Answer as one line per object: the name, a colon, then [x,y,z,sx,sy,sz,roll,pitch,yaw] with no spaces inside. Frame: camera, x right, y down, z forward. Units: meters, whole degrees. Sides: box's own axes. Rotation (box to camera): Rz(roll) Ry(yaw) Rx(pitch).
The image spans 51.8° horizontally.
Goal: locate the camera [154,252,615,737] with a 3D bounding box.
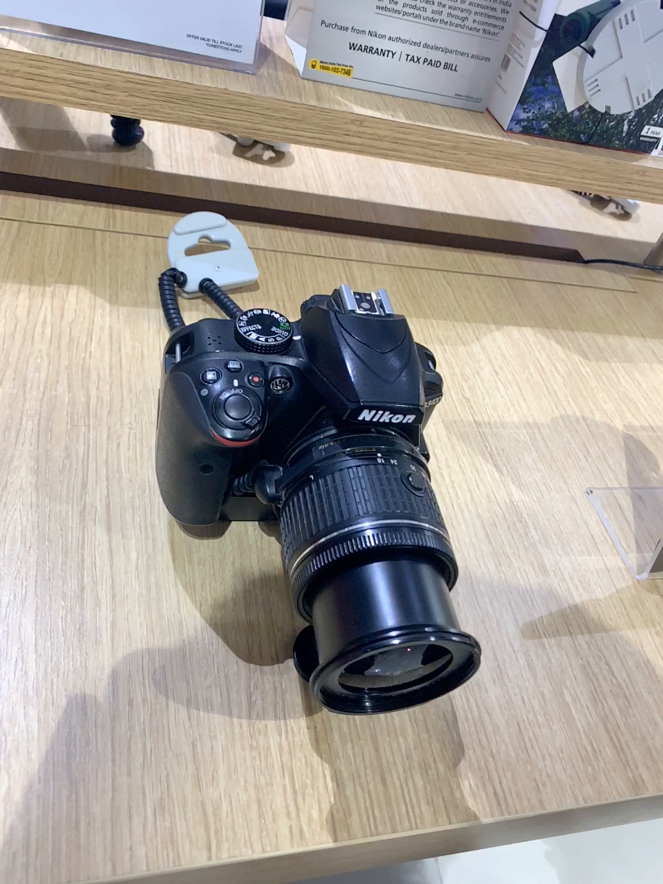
camera: [0.000,0.015,0.256,0.120,0.094,0.140,1,47,-18]
